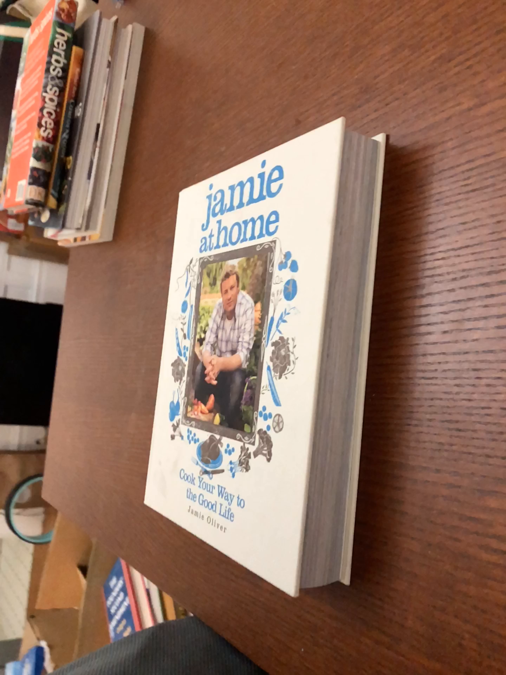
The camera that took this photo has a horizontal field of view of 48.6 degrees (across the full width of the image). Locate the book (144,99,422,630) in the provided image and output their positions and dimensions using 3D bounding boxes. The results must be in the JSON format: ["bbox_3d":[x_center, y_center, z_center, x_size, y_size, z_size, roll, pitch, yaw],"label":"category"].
[{"bbox_3d":[0.002,0.011,0.372,0.211,0.040,0.260,1,83,57],"label":"book"}]
